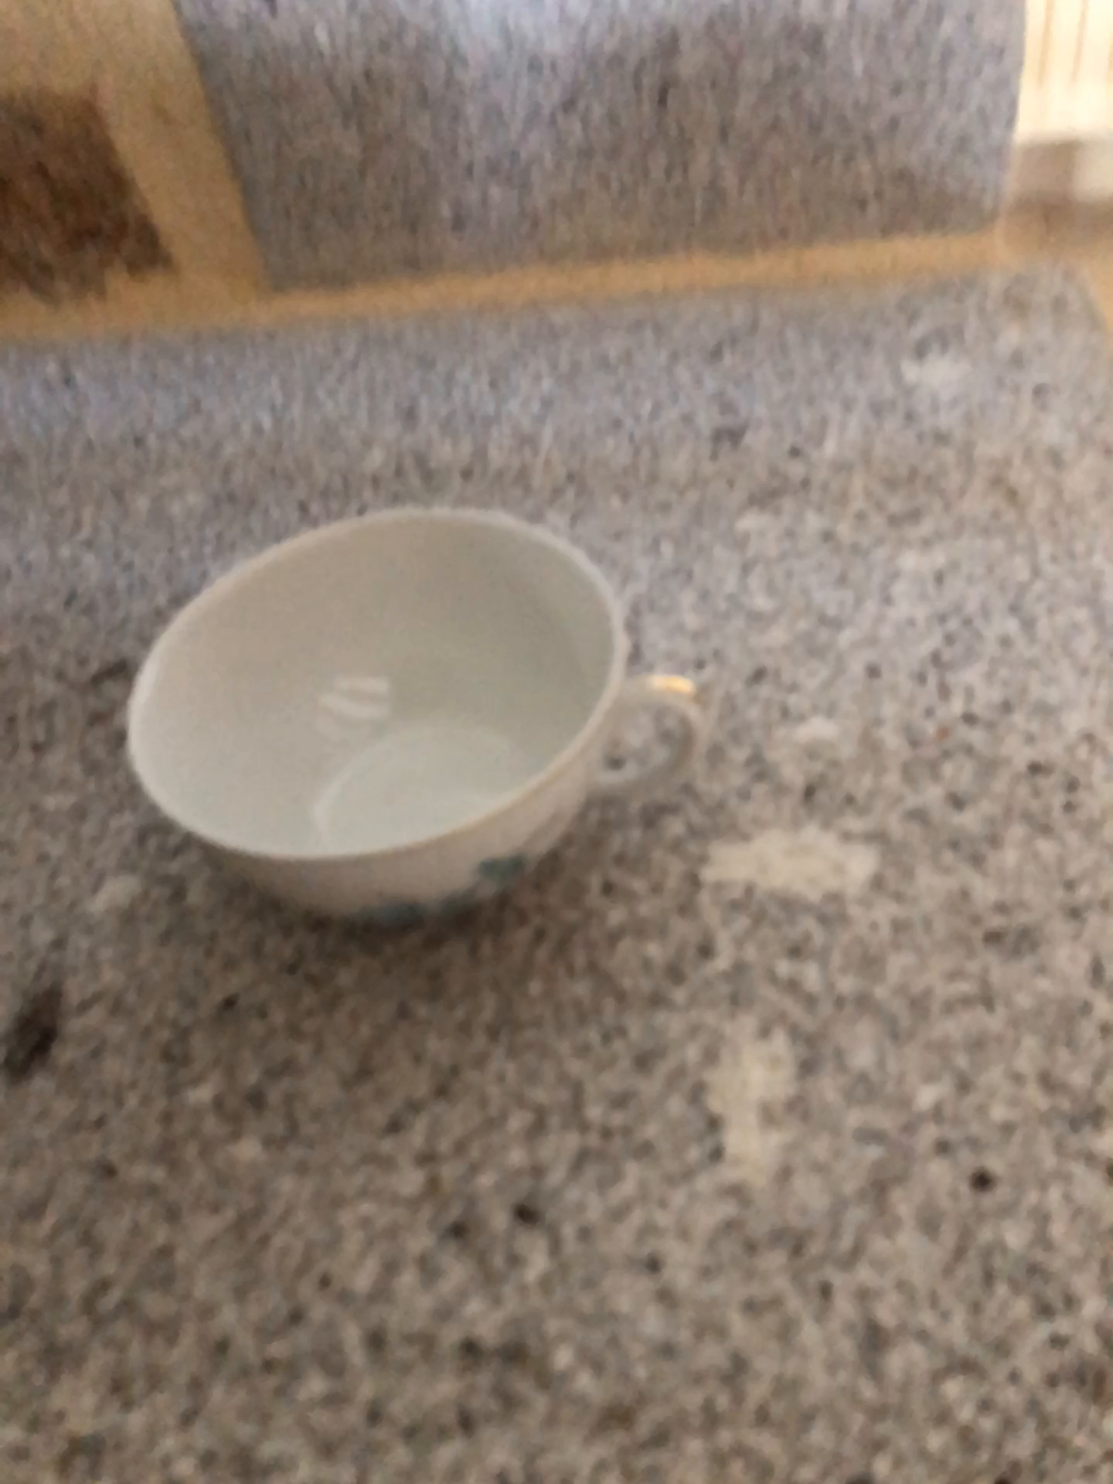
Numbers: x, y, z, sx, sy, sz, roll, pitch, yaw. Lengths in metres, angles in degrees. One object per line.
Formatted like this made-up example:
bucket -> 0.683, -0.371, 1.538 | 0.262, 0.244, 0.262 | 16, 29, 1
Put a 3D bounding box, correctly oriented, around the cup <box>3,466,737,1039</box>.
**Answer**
cup -> -0.029, -0.002, 0.225 | 0.110, 0.040, 0.091 | -8, 45, 3
